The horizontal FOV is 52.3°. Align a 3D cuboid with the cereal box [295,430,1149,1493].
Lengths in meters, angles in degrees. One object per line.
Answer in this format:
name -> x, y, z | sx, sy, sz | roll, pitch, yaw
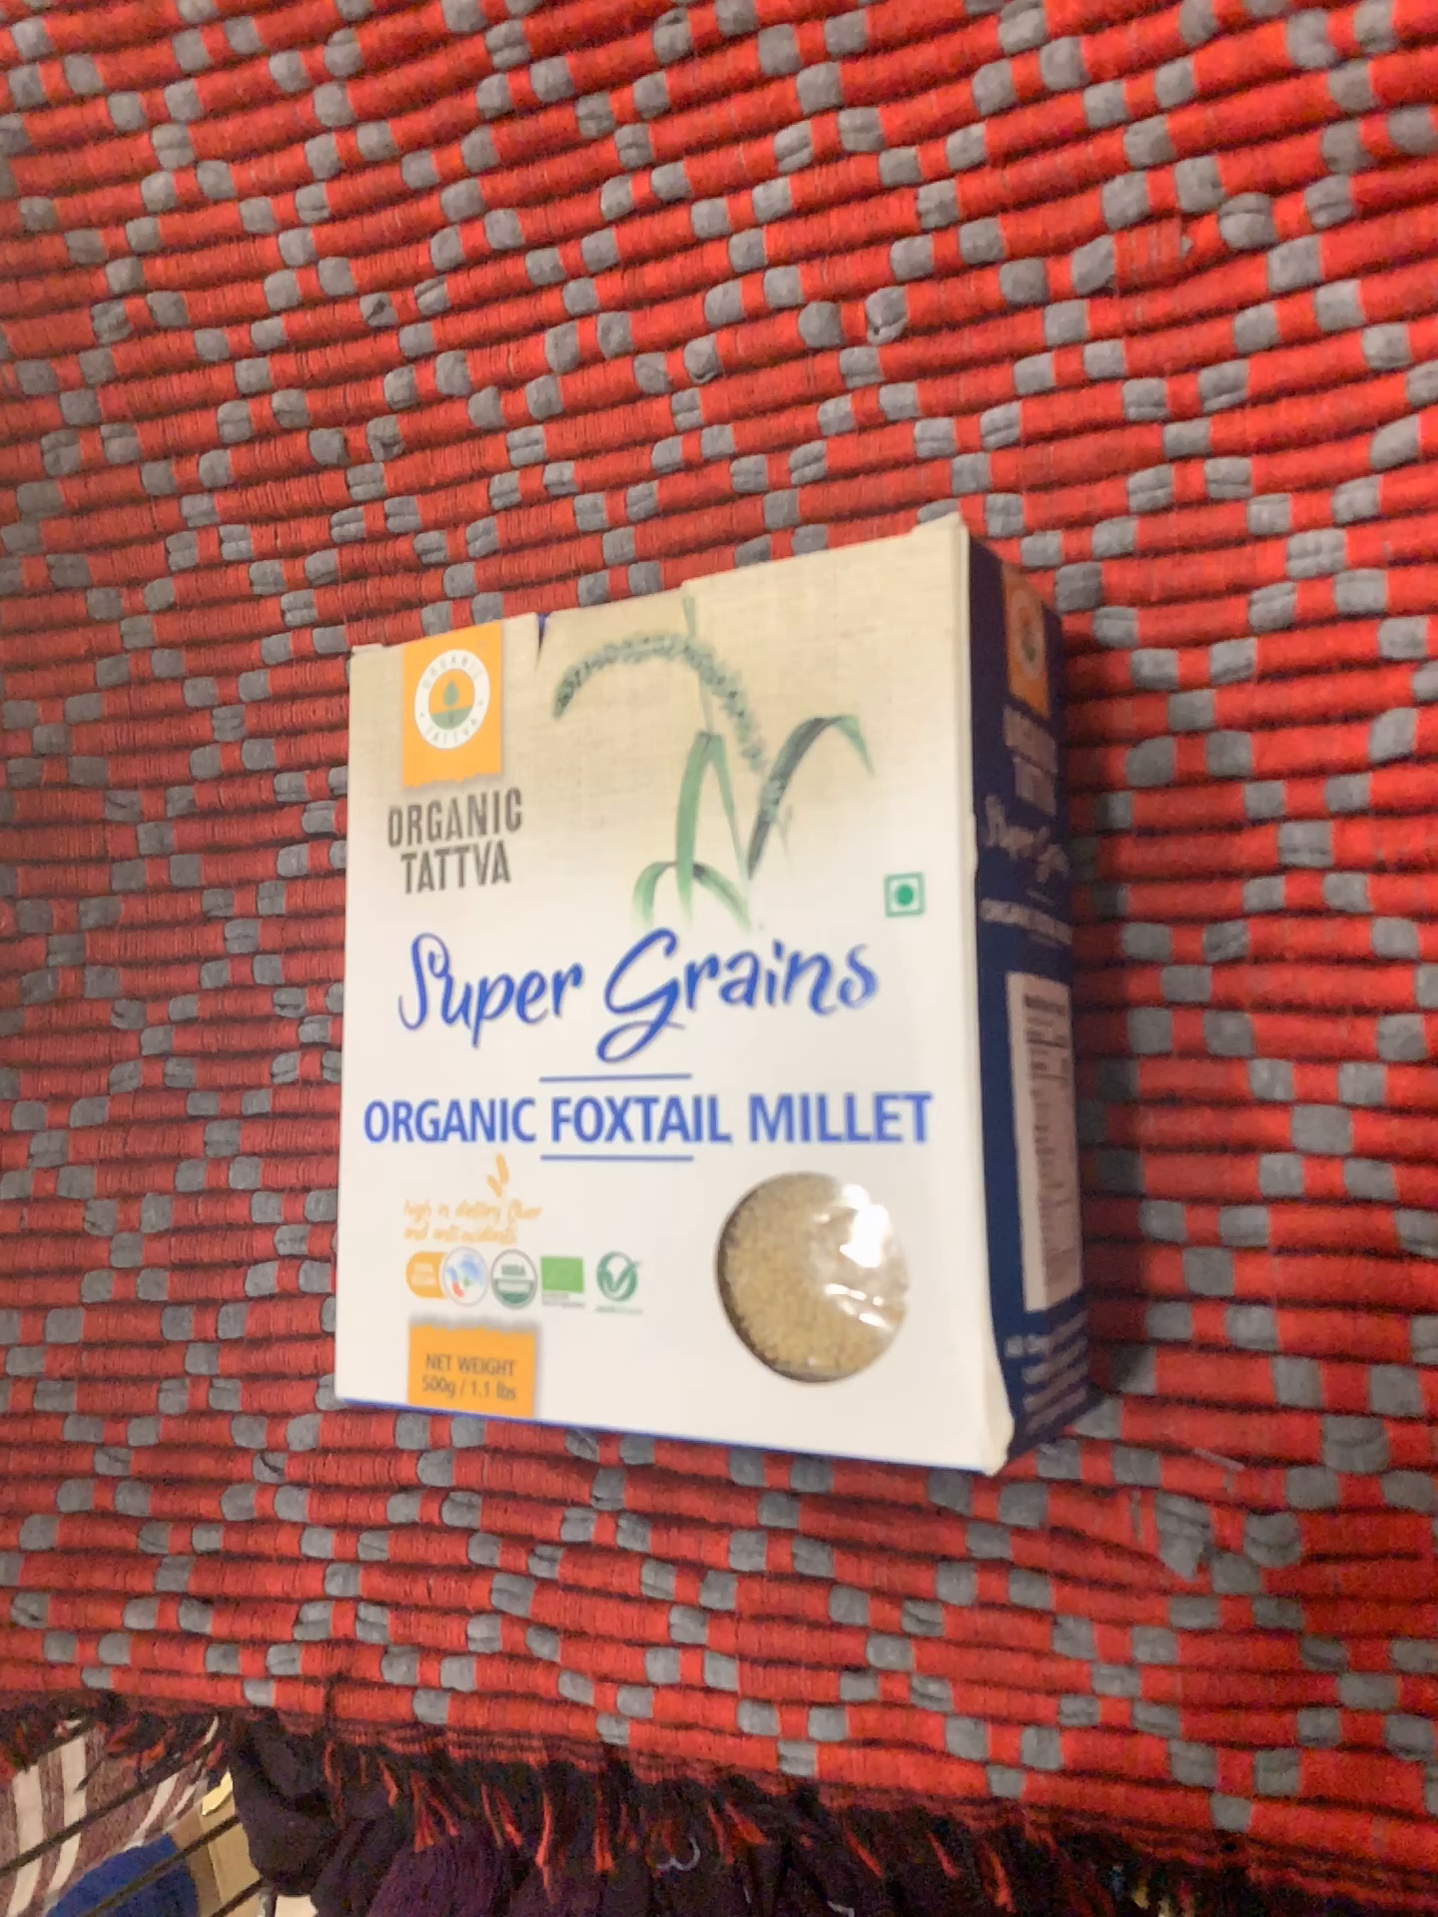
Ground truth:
cereal box -> -0.003, 0.005, 0.267 | 0.141, 0.060, 0.150 | -4, 83, 30
